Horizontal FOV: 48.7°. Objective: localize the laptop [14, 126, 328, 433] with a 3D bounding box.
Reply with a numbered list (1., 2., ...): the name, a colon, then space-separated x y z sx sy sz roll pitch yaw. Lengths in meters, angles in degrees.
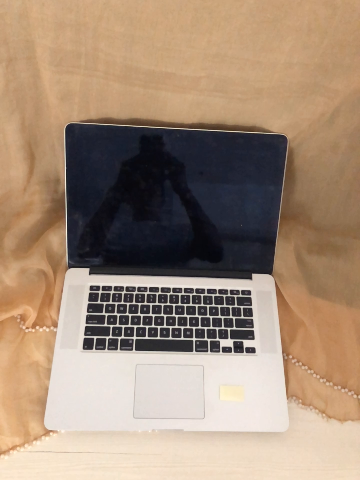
1. laptop: -0.008 0.048 0.572 0.336 0.135 0.406 2 65 -3
